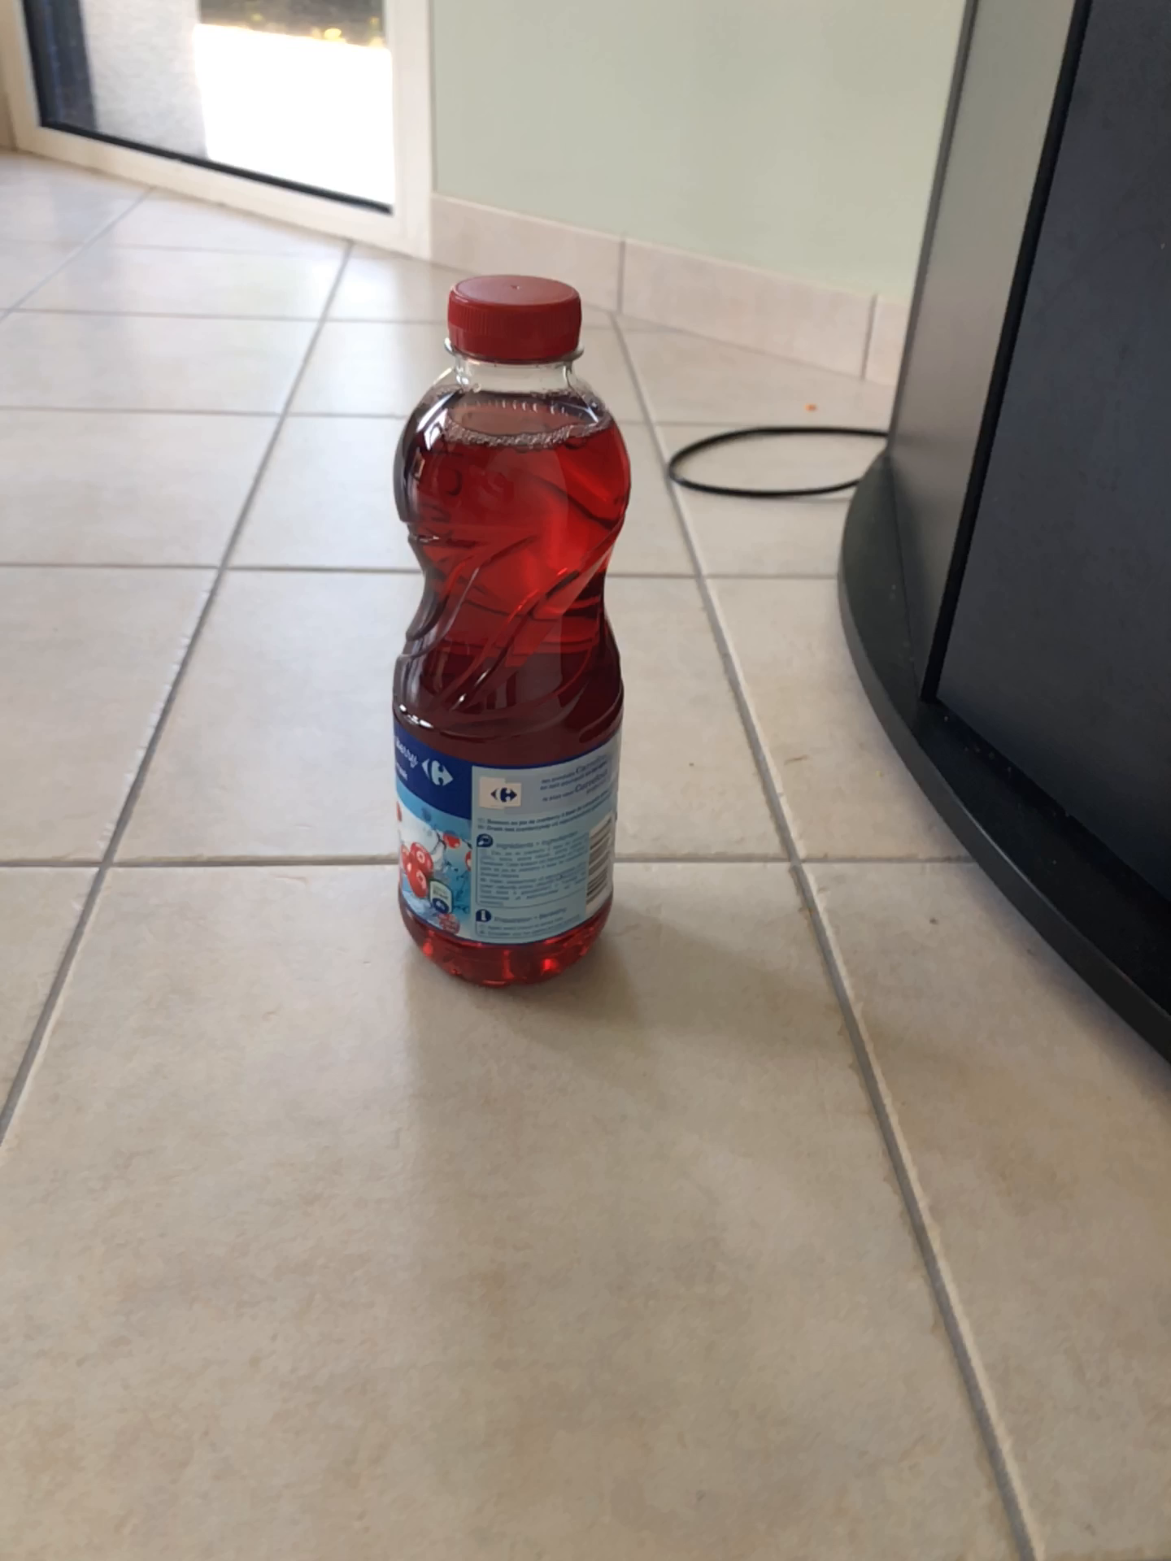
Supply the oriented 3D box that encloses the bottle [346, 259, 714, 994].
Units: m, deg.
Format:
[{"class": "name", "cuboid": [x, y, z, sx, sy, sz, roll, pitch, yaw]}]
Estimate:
[{"class": "bottle", "cuboid": [-0.023, -0.046, 0.454, 0.100, 0.239, 0.091, 1, 33, -4]}]
